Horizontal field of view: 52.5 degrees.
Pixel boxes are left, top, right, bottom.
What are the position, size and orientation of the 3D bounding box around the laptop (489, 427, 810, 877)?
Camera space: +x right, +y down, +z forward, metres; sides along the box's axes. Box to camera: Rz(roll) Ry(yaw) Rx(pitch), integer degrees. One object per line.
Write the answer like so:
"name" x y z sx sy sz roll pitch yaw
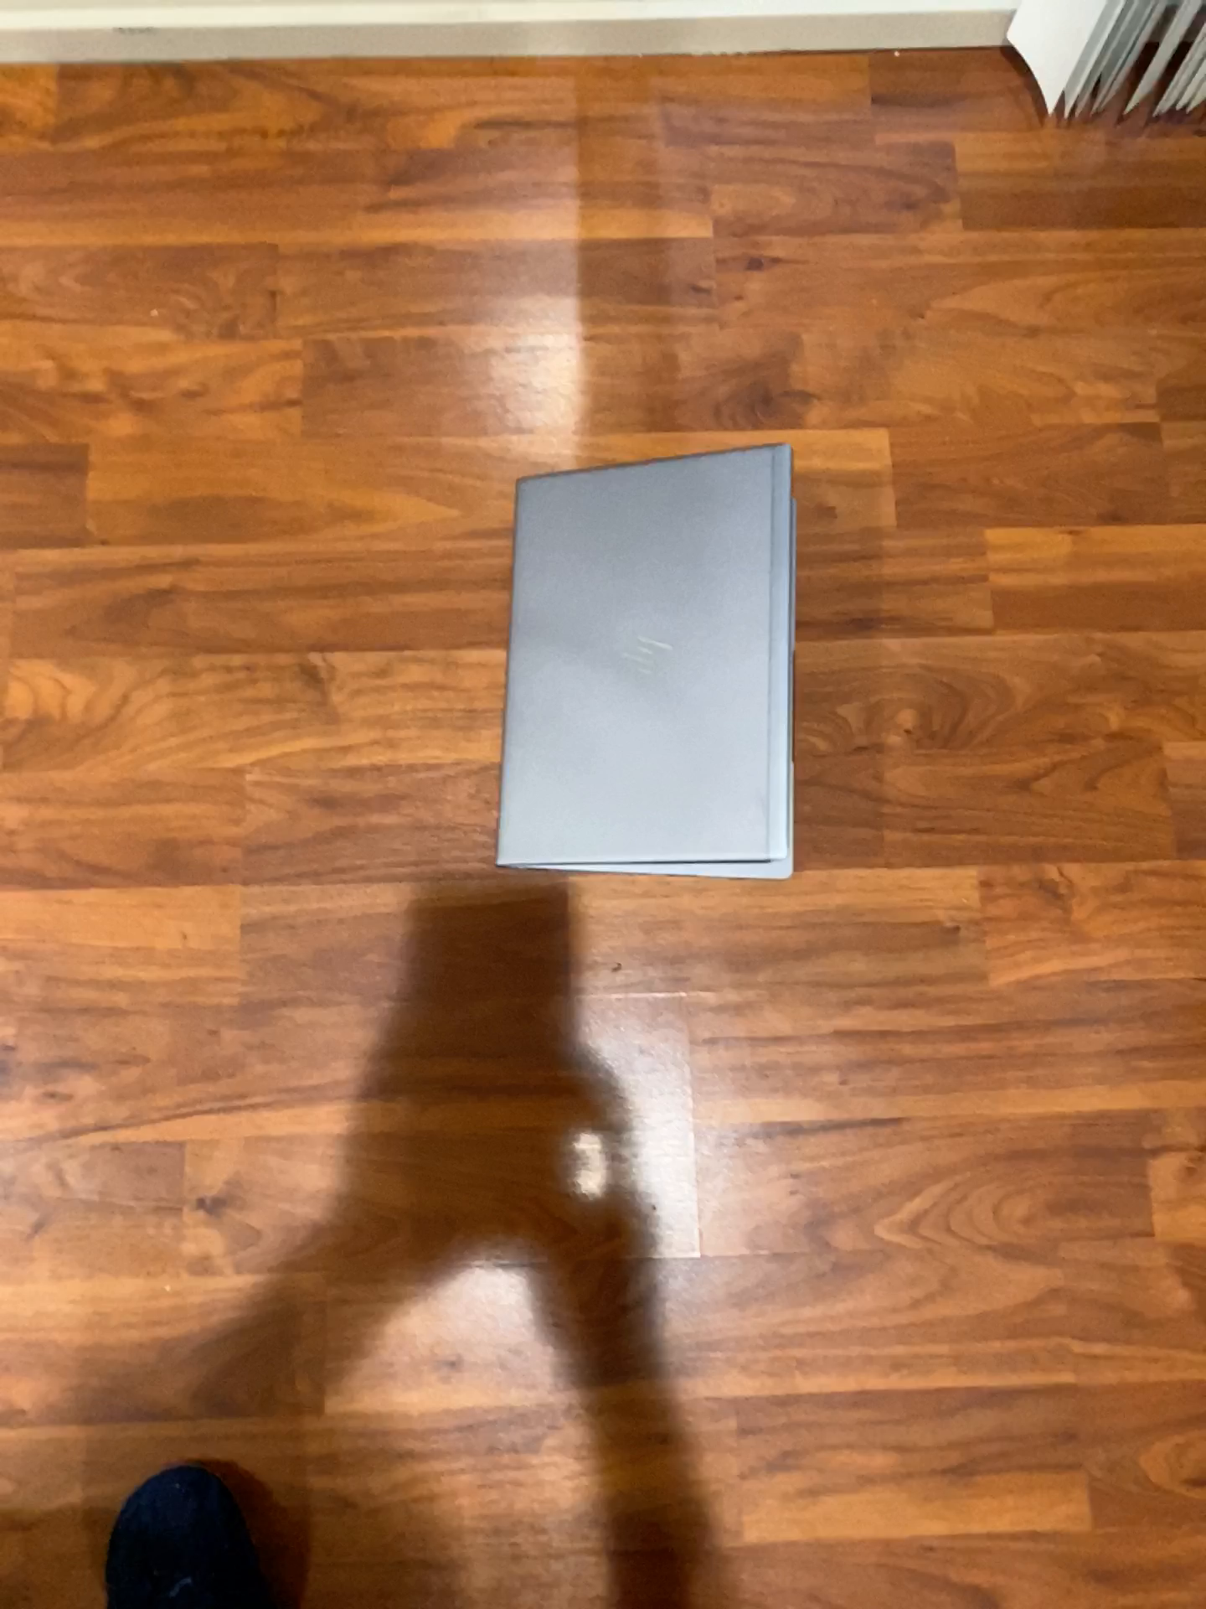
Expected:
"laptop" 0.038 -0.116 0.946 0.230 0.078 0.325 3 79 -2
